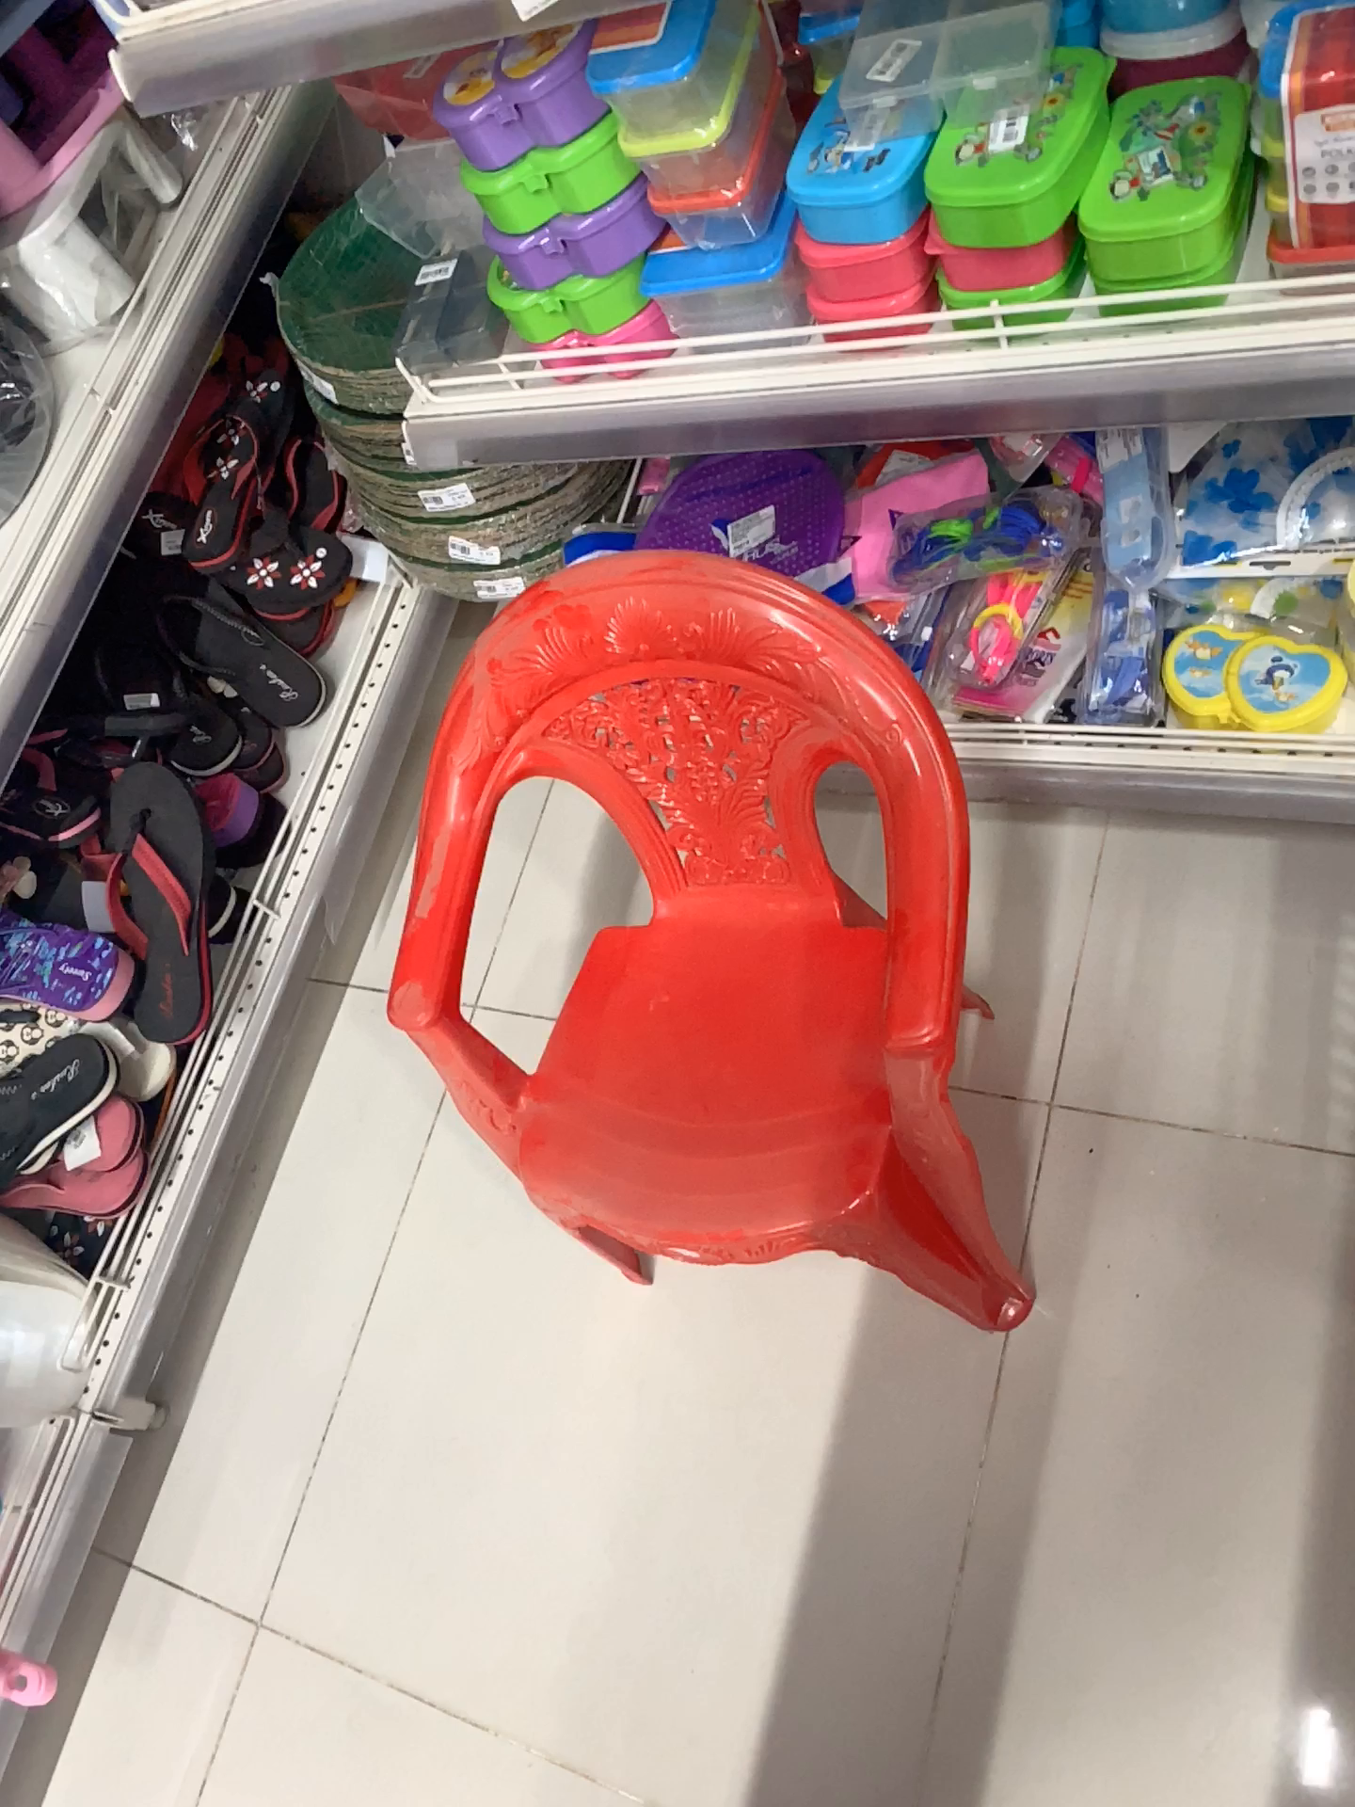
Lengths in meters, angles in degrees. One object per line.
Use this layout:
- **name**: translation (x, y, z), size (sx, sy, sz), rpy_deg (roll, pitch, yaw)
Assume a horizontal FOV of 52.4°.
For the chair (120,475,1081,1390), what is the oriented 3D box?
- **chair**: translation (0.012, 0.056, 0.956), size (0.411, 0.498, 0.410), rpy_deg (2, 66, 26)
